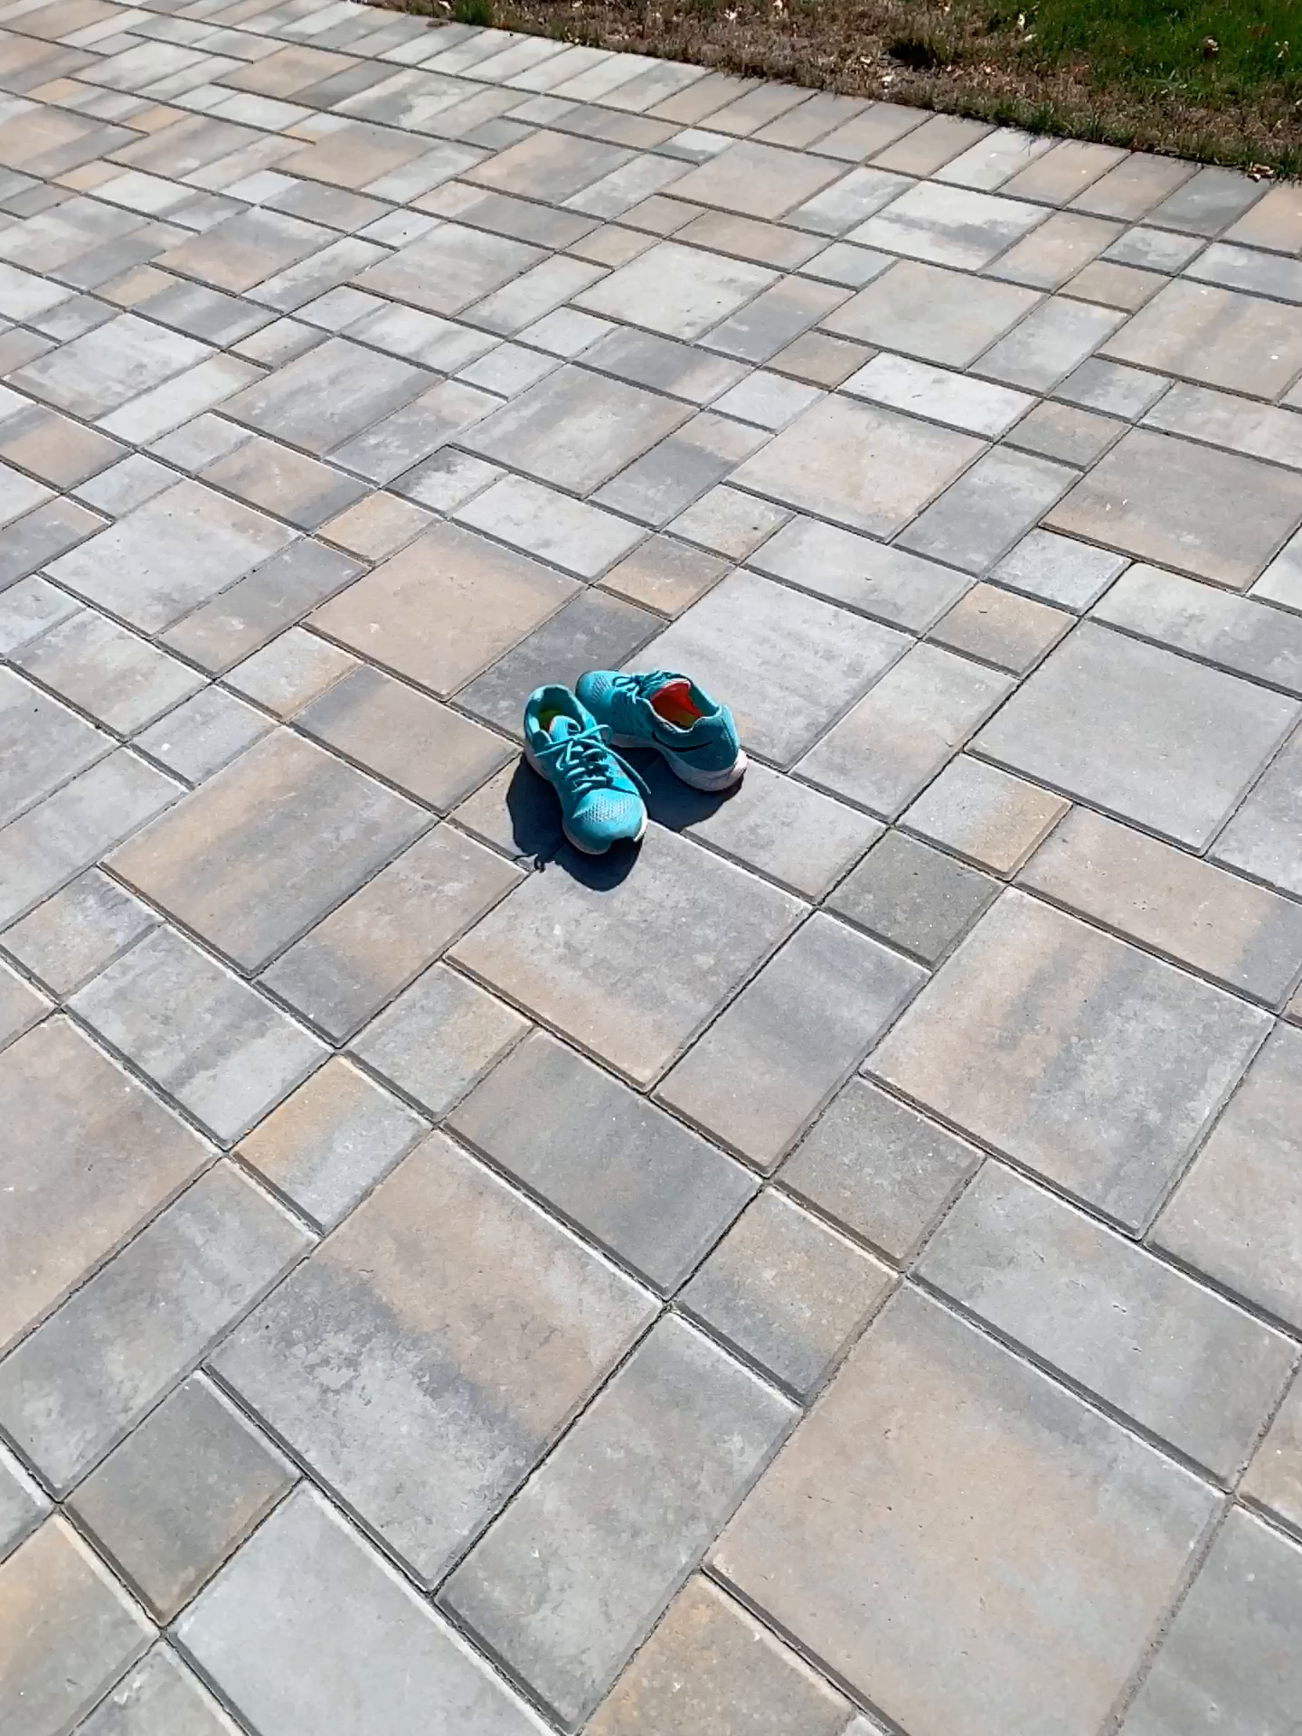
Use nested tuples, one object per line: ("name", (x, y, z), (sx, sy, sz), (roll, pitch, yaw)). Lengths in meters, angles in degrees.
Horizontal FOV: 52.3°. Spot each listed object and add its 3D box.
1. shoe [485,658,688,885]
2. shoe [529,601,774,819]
("shoe", (-0.080, -0.121, 1.580), (0.130, 0.100, 0.271), (-24, 45, -13))
("shoe", (0.001, -0.193, 1.579), (0.271, 0.100, 0.130), (34, 61, 30))
